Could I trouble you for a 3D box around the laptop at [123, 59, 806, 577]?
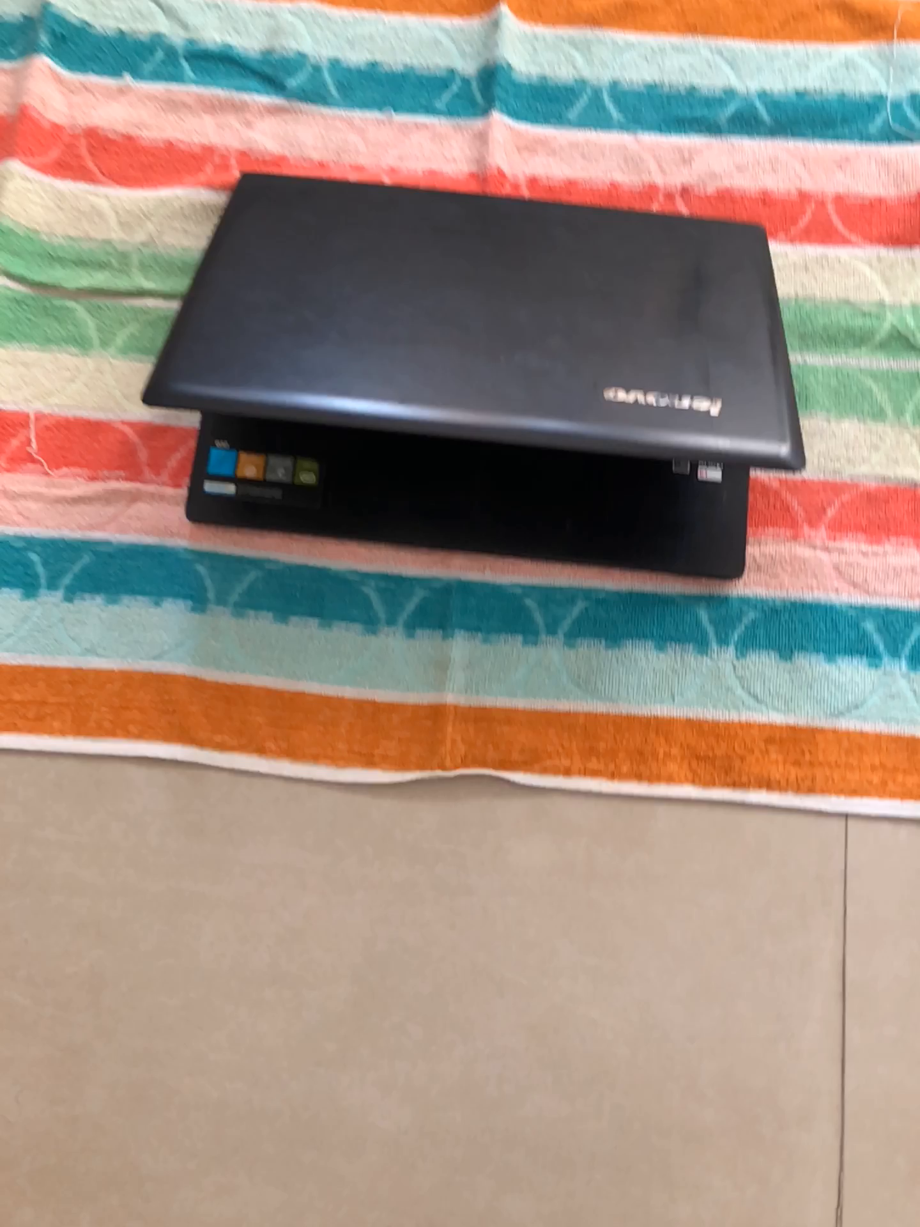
[{"bbox_3d":[0.014,-0.179,0.633,0.363,0.126,0.253,6,74,0],"label":"laptop"}]
